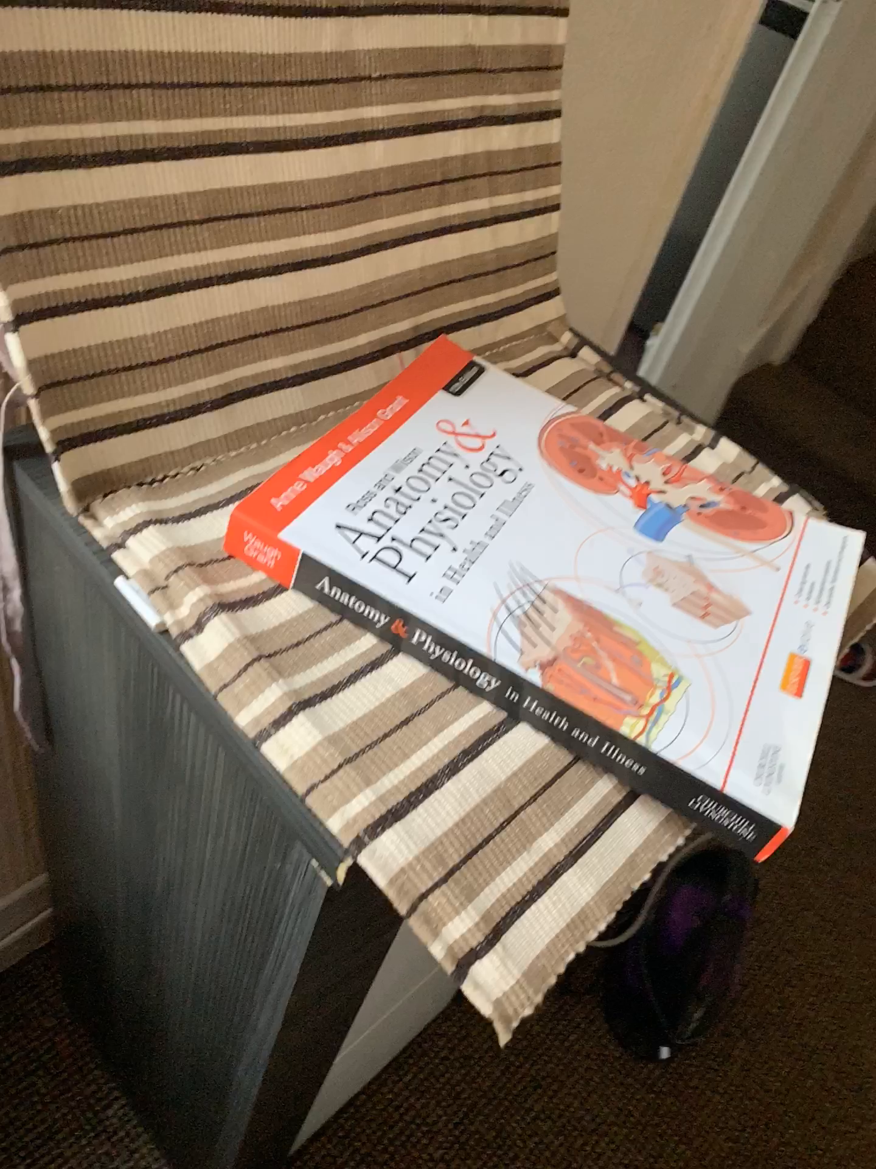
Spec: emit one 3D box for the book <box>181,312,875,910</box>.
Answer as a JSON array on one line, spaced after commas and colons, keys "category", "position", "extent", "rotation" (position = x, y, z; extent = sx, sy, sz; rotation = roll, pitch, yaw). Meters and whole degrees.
[{"category": "book", "position": [0.064, -0.019, 0.450], "extent": [0.280, 0.040, 0.242], "rotation": [29, 44, 10]}]
